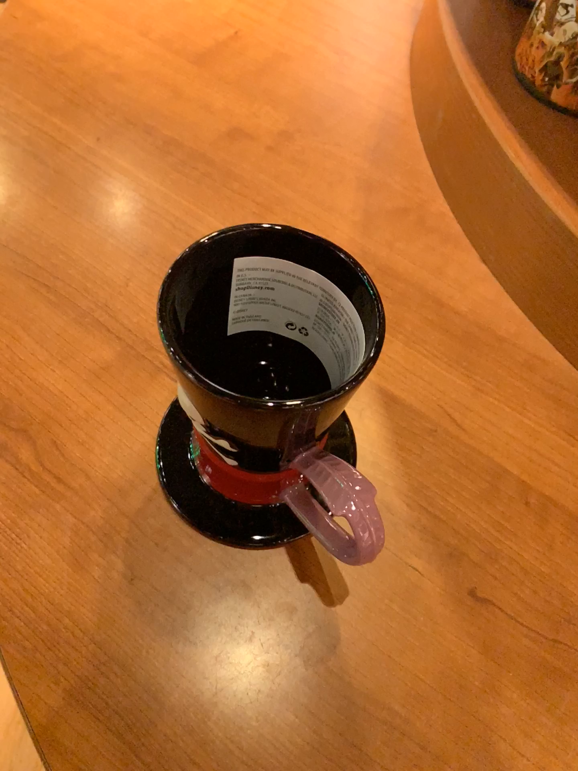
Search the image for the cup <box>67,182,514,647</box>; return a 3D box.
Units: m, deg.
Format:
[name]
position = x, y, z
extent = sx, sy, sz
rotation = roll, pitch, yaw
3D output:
[cup]
position = -0.009, 0.021, 0.278
extent = 0.110, 0.145, 0.134
rotation = -25, 66, -18
